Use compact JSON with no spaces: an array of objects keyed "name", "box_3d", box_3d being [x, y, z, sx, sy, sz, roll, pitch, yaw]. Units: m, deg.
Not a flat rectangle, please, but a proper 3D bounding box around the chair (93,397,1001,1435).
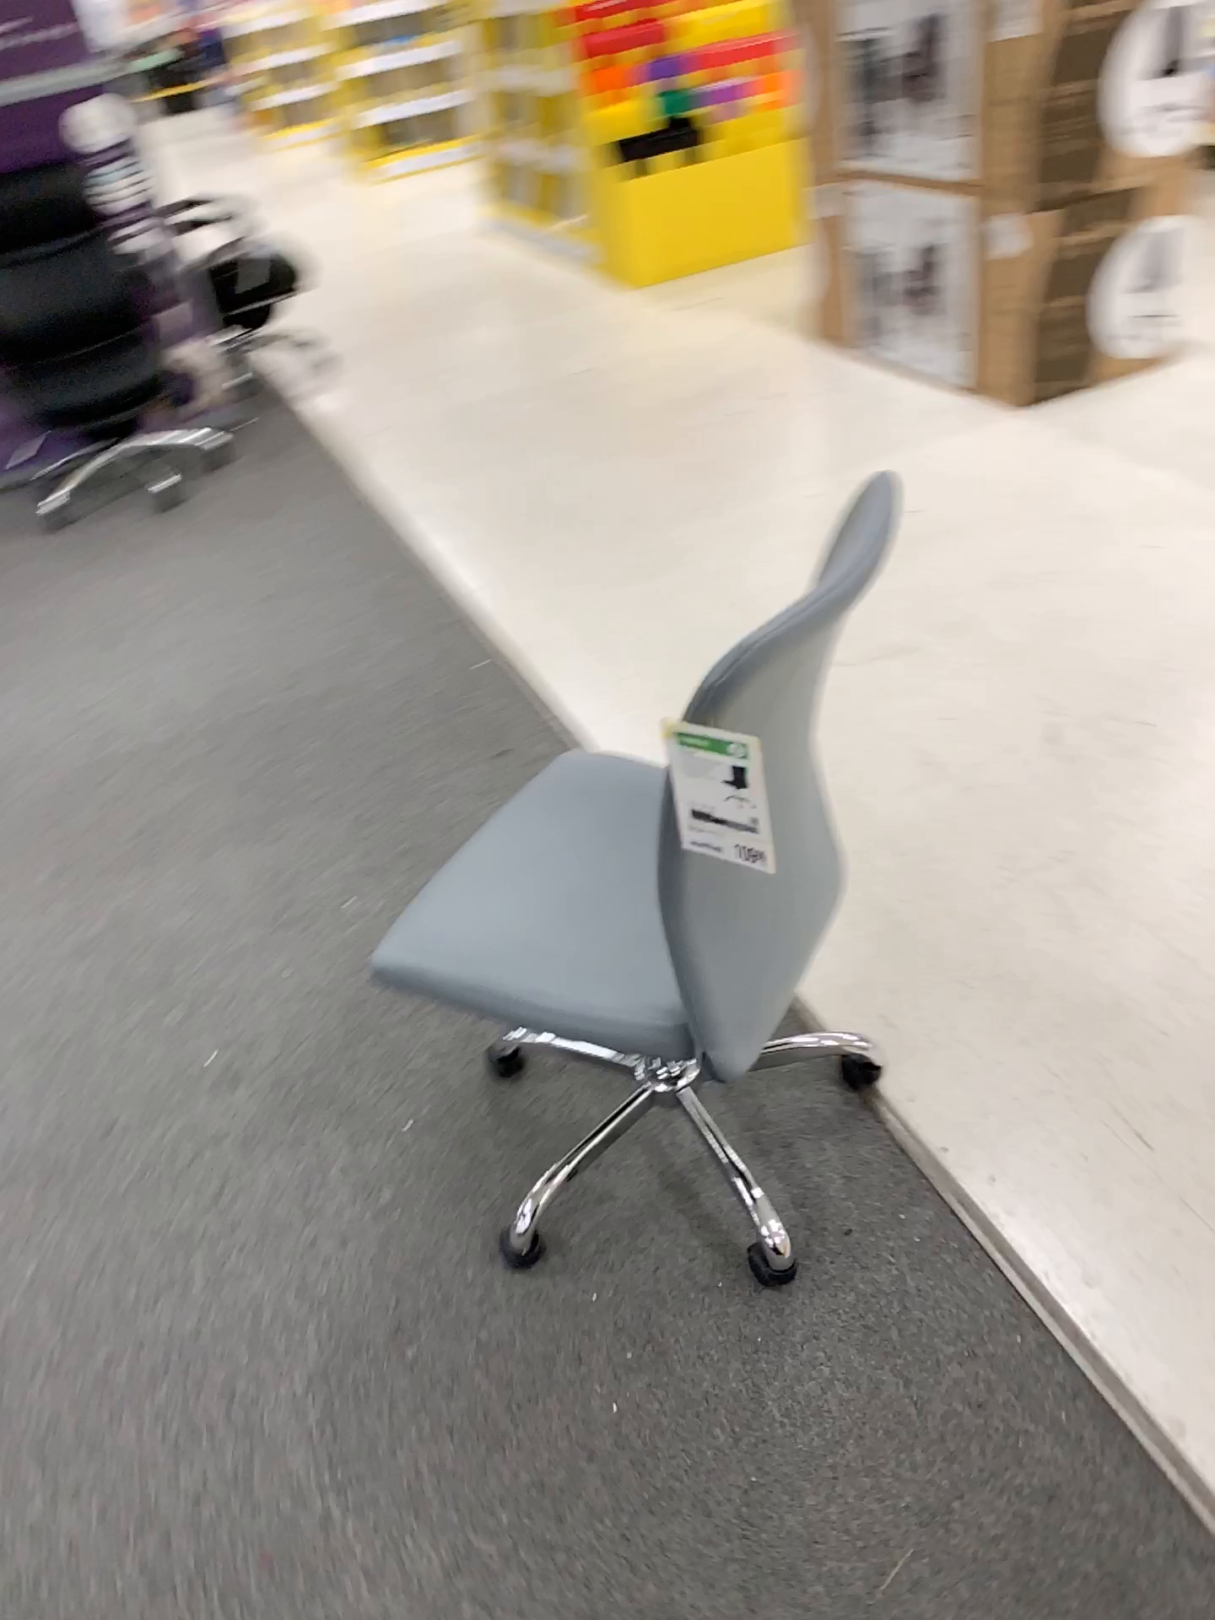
[{"name":"chair","box_3d":[0.023,0.074,1.418,0.651,0.875,0.602,13,41,31]}]
